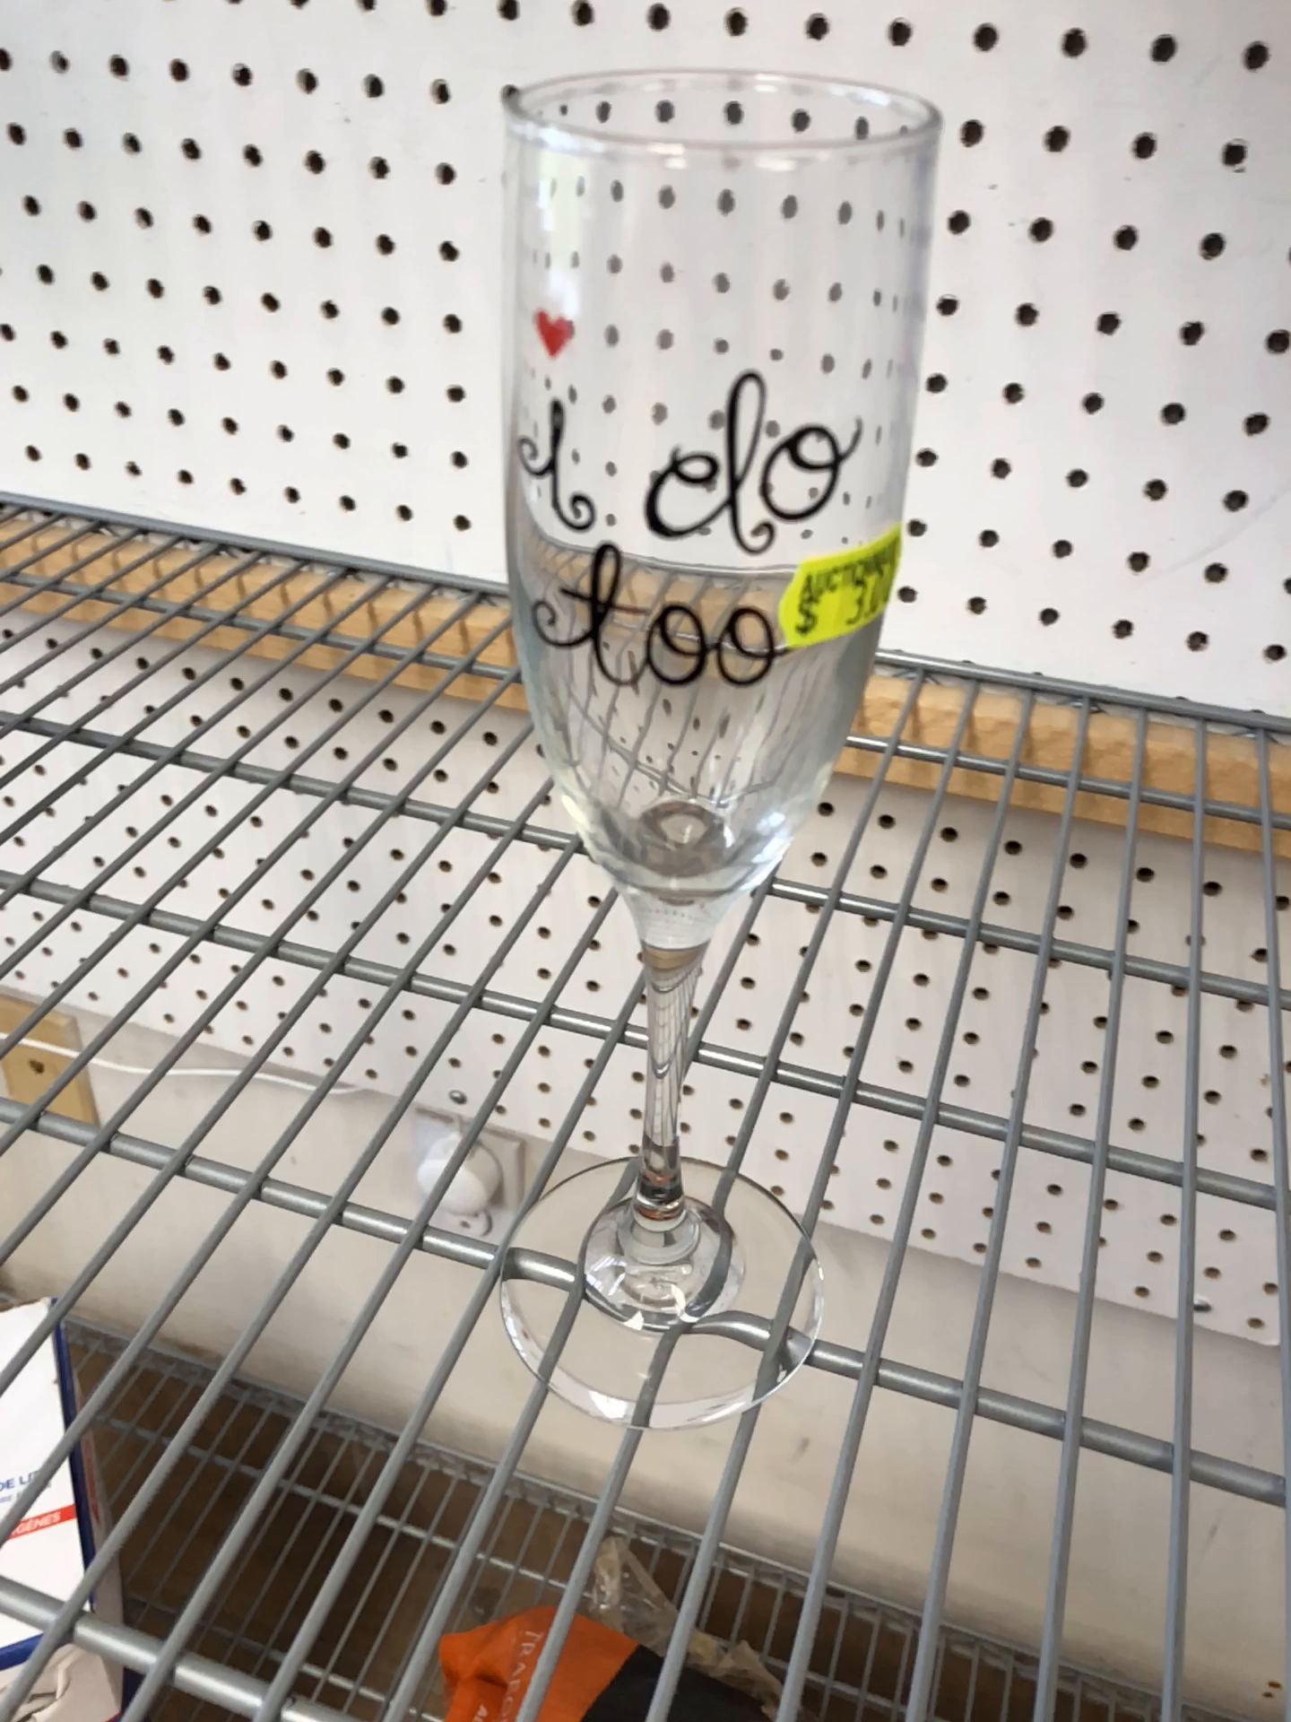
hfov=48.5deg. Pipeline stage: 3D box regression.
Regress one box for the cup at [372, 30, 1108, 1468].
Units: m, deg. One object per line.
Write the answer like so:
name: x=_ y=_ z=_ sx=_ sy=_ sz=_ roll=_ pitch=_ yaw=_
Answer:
cup: x=0.011 y=-0.004 z=0.223 sx=0.070 sy=0.209 sz=0.070 roll=2 pitch=35 yaw=-1
